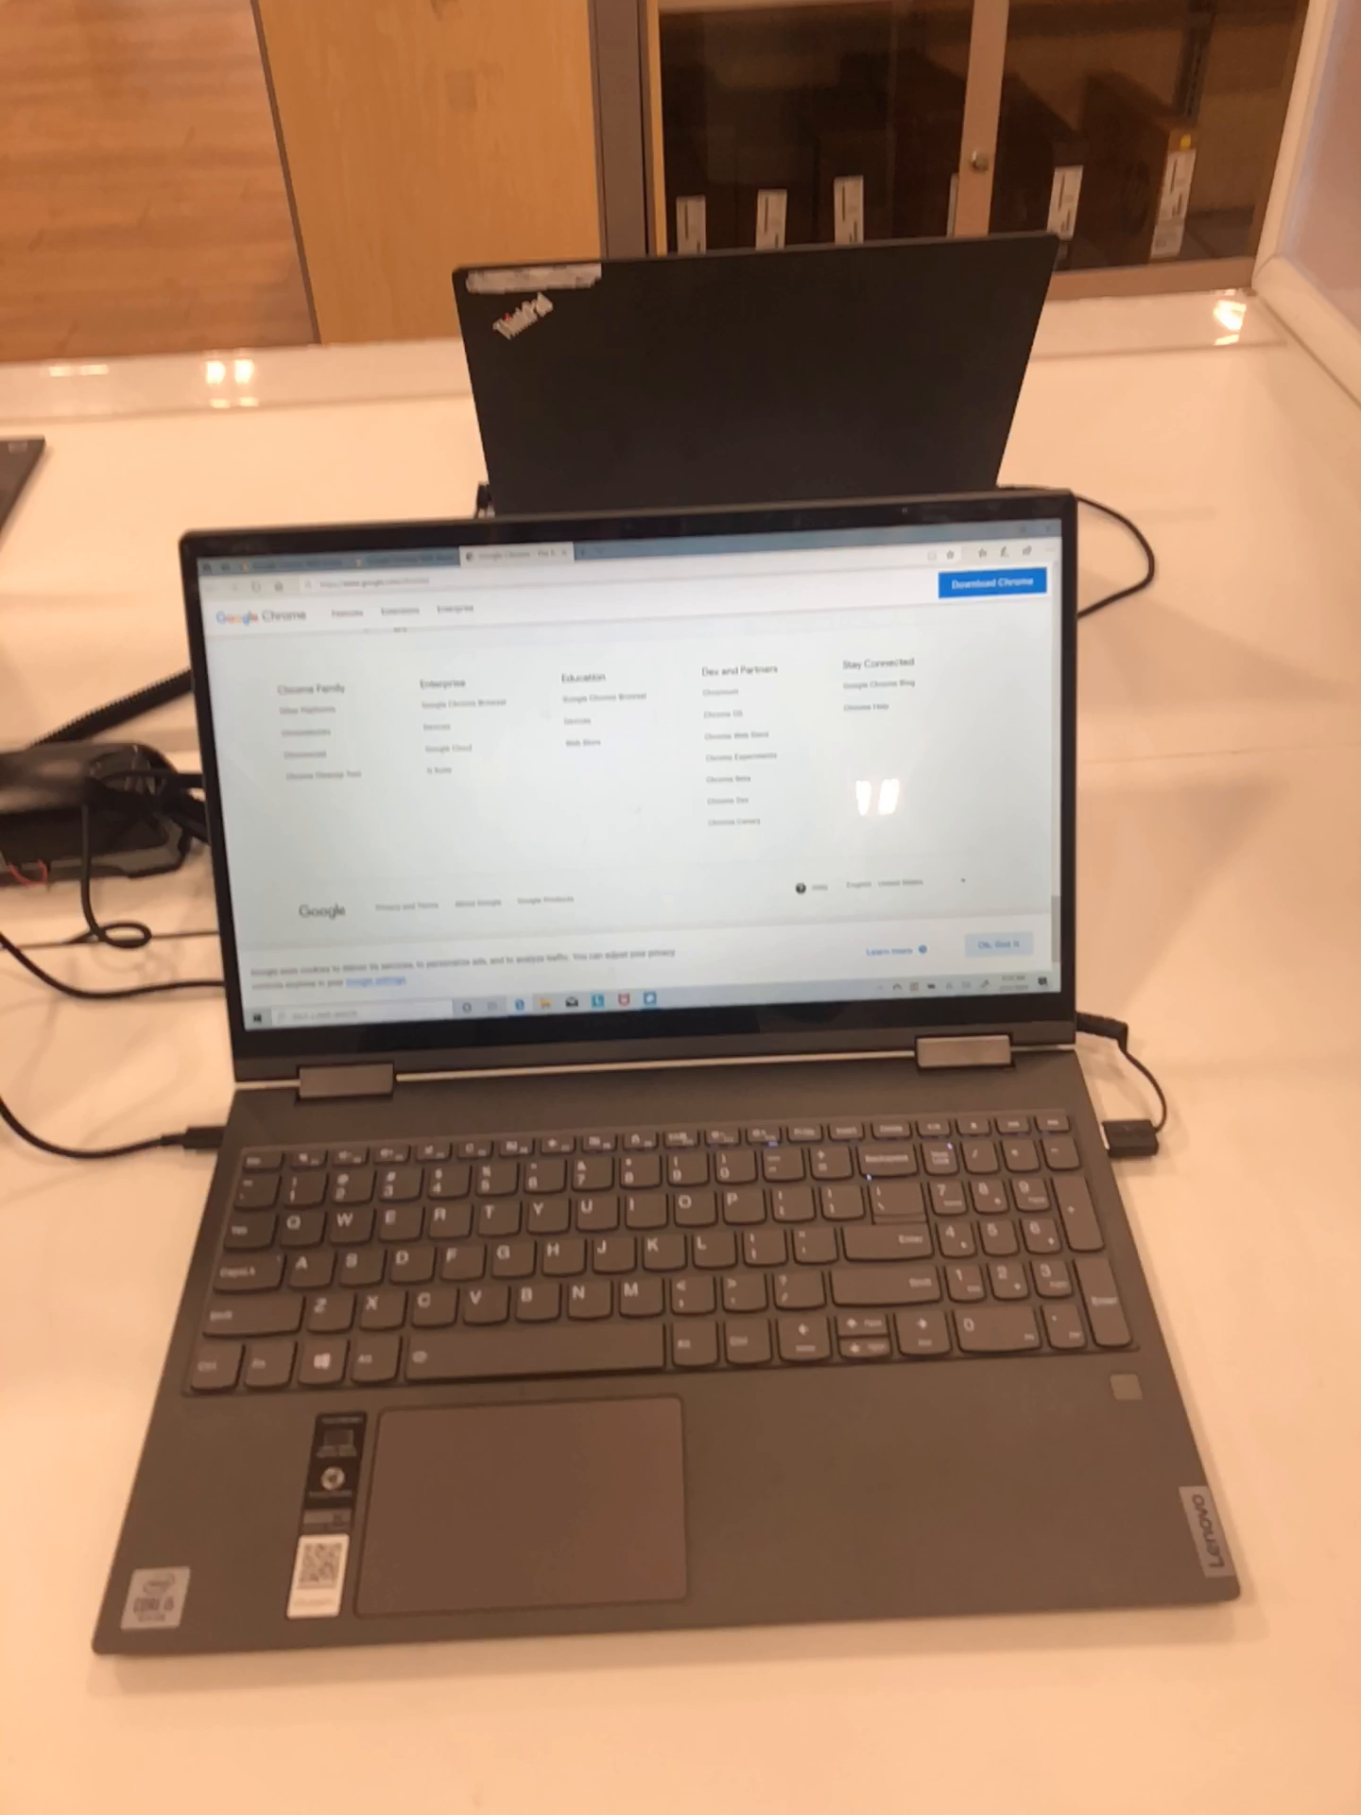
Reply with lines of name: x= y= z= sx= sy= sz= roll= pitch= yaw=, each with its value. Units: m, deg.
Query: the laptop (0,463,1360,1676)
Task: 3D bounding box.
laptop: x=-0.016 y=0.032 z=0.529 sx=0.352 sy=0.178 sz=0.366 roll=-2 pitch=47 yaw=0
